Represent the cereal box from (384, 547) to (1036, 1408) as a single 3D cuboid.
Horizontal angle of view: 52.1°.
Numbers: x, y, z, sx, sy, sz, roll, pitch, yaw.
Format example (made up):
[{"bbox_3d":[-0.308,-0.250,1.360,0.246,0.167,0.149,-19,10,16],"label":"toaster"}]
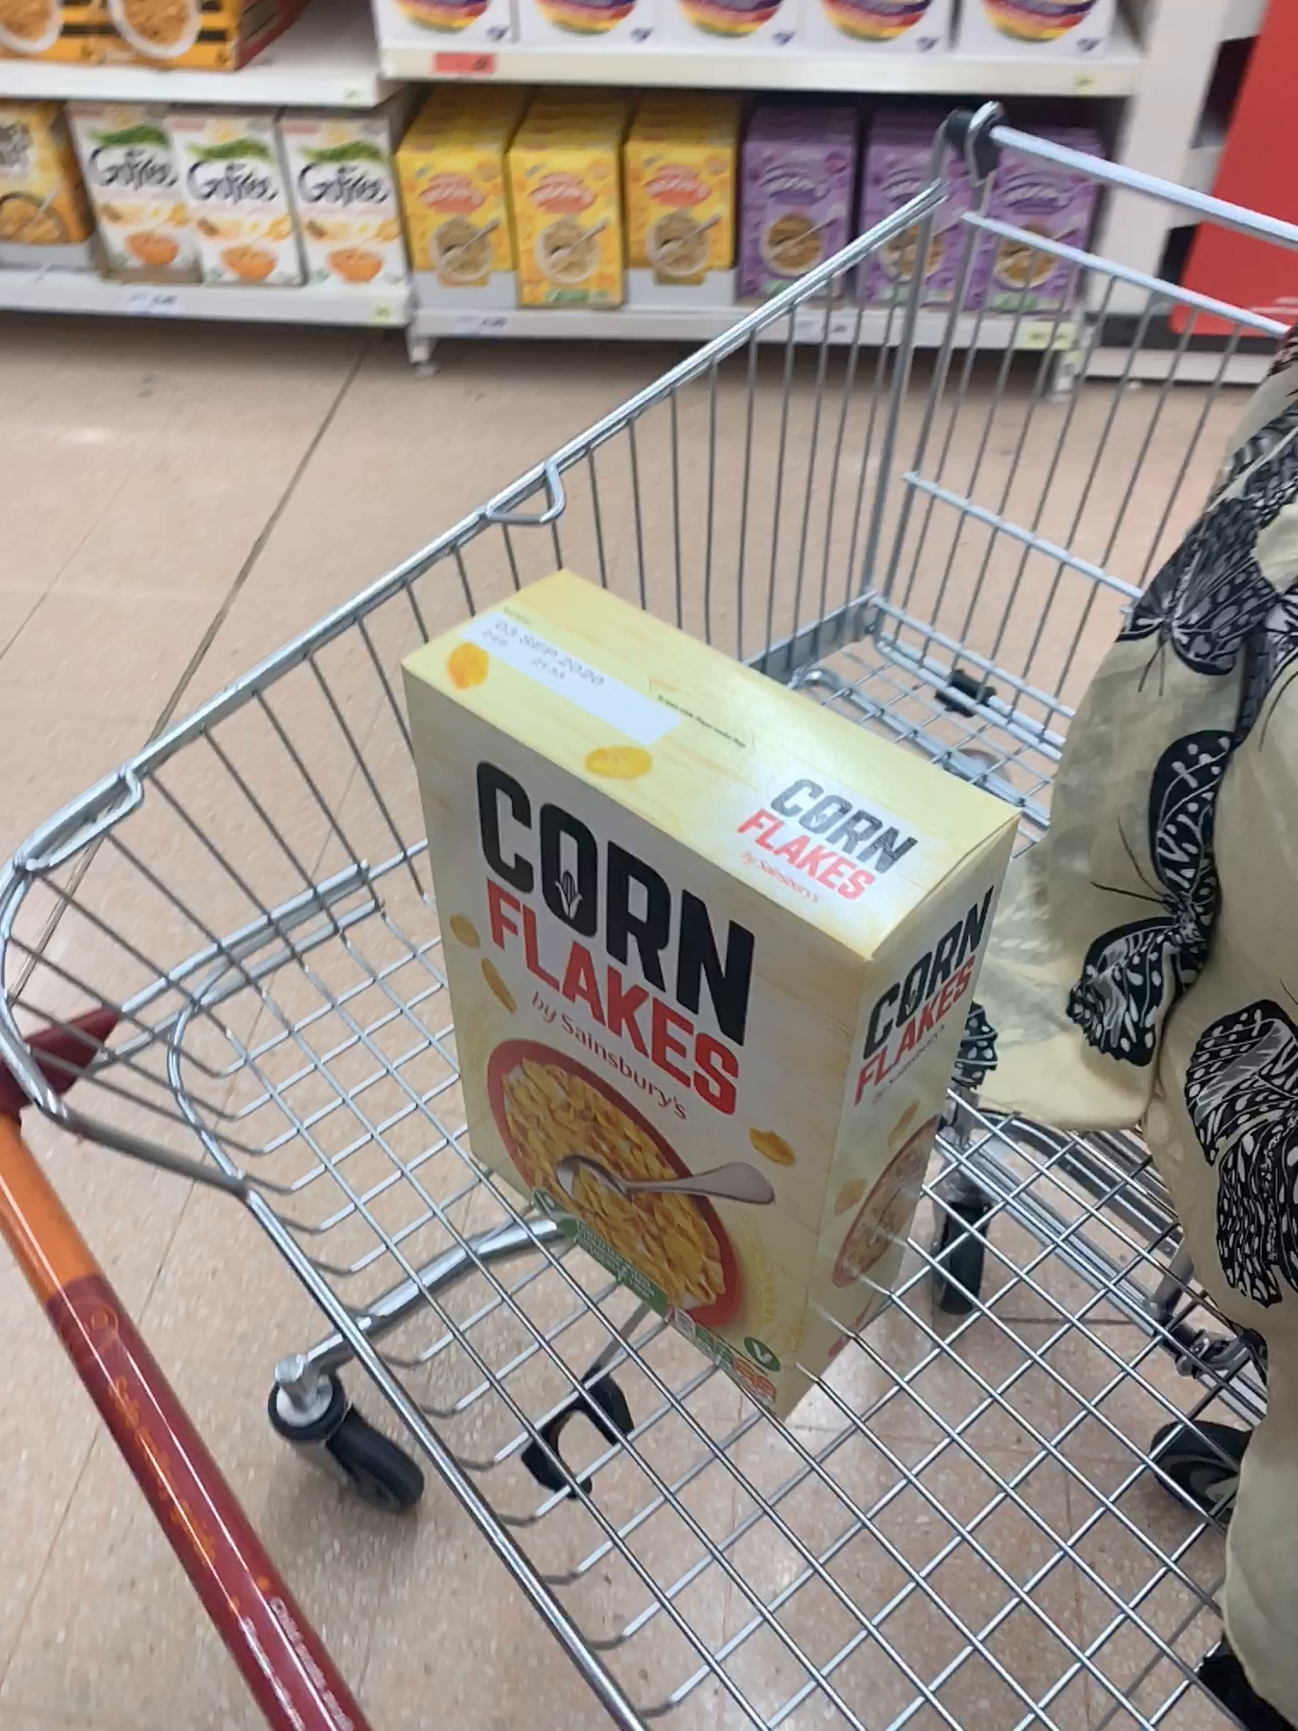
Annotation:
[{"bbox_3d":[0.011,0.053,0.499,0.191,0.277,0.080,33,54,28],"label":"cereal box"}]
